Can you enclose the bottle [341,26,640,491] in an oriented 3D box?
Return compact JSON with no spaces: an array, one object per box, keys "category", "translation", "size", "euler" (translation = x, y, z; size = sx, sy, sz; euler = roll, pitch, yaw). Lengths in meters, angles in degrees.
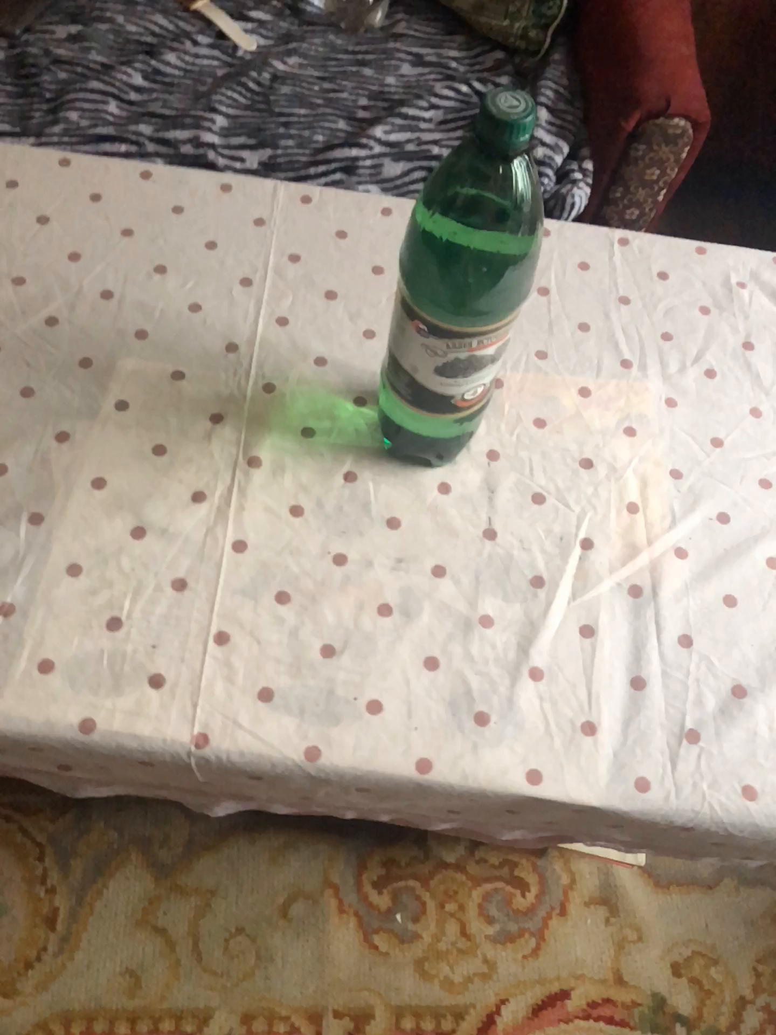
[{"category":"bottle","translation":[0.044,-0.143,0.553],"size":[0.100,0.279,0.100],"euler":[3,62,-5]}]
